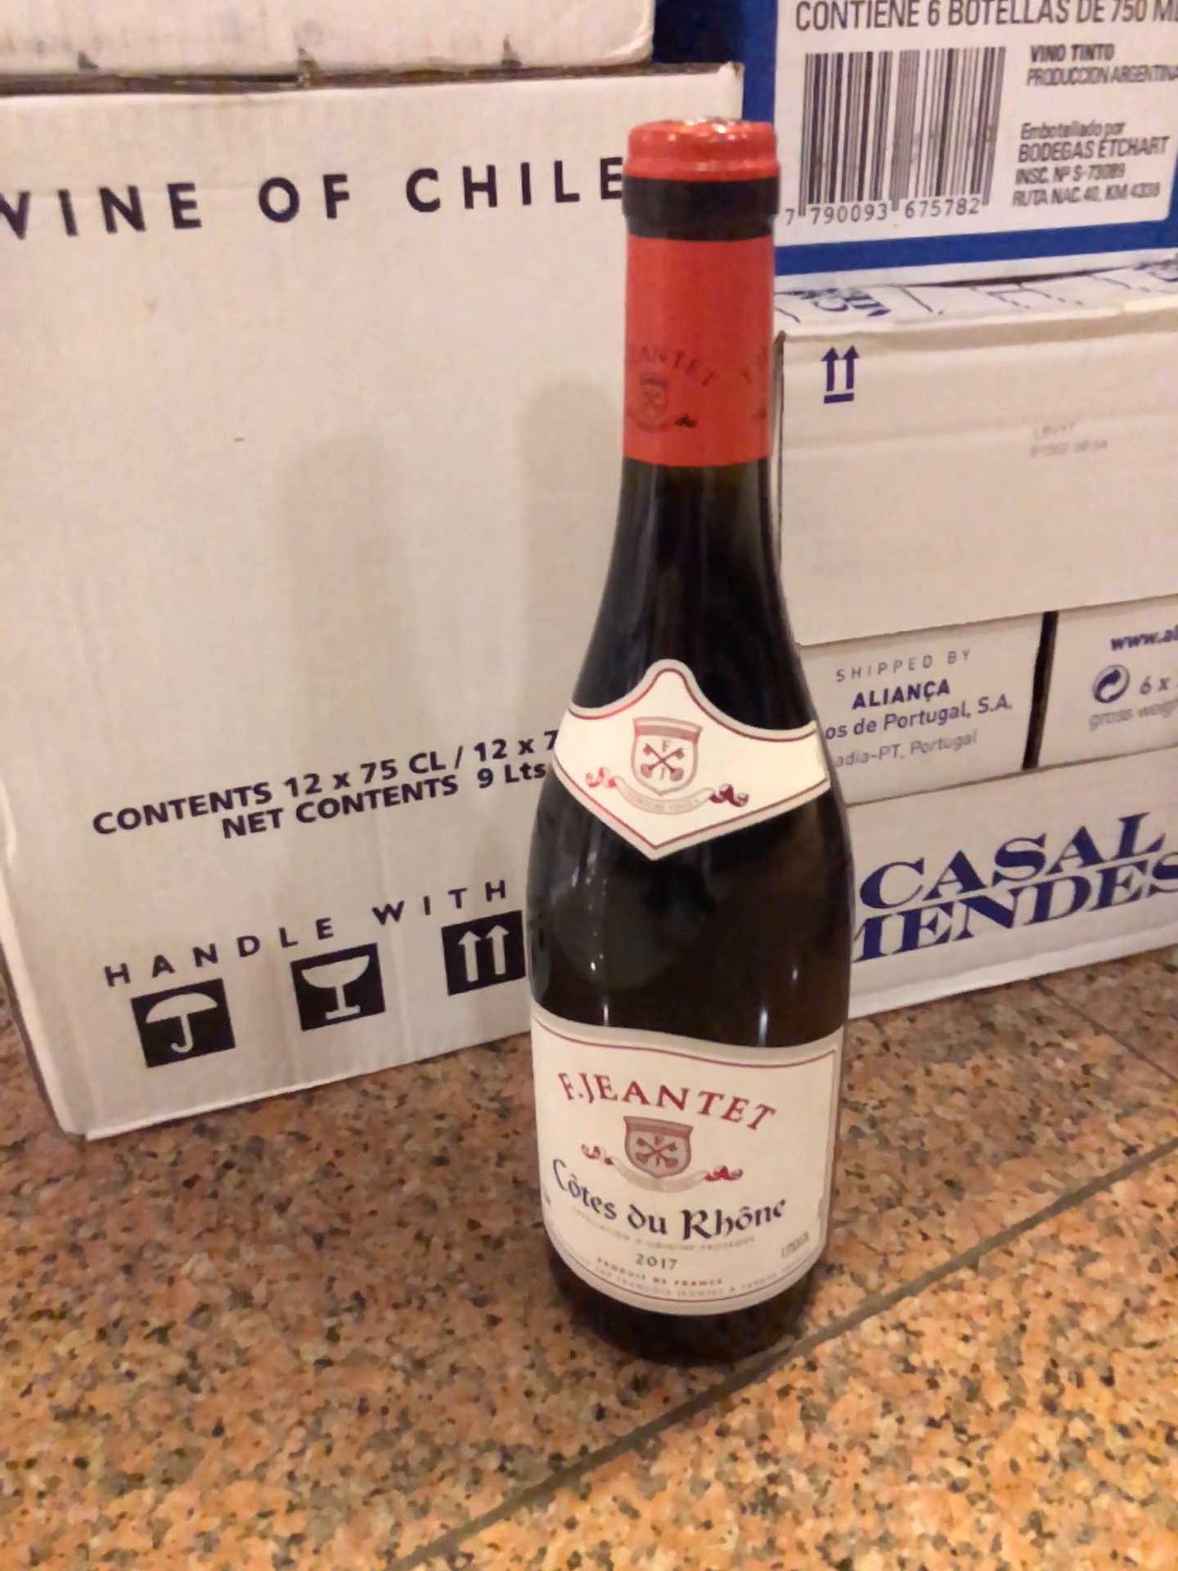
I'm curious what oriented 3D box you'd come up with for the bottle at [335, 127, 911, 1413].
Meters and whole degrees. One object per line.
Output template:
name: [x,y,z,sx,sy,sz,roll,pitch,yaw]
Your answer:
bottle: [0.015,0.010,0.304,0.090,0.288,0.081,3,29,10]
